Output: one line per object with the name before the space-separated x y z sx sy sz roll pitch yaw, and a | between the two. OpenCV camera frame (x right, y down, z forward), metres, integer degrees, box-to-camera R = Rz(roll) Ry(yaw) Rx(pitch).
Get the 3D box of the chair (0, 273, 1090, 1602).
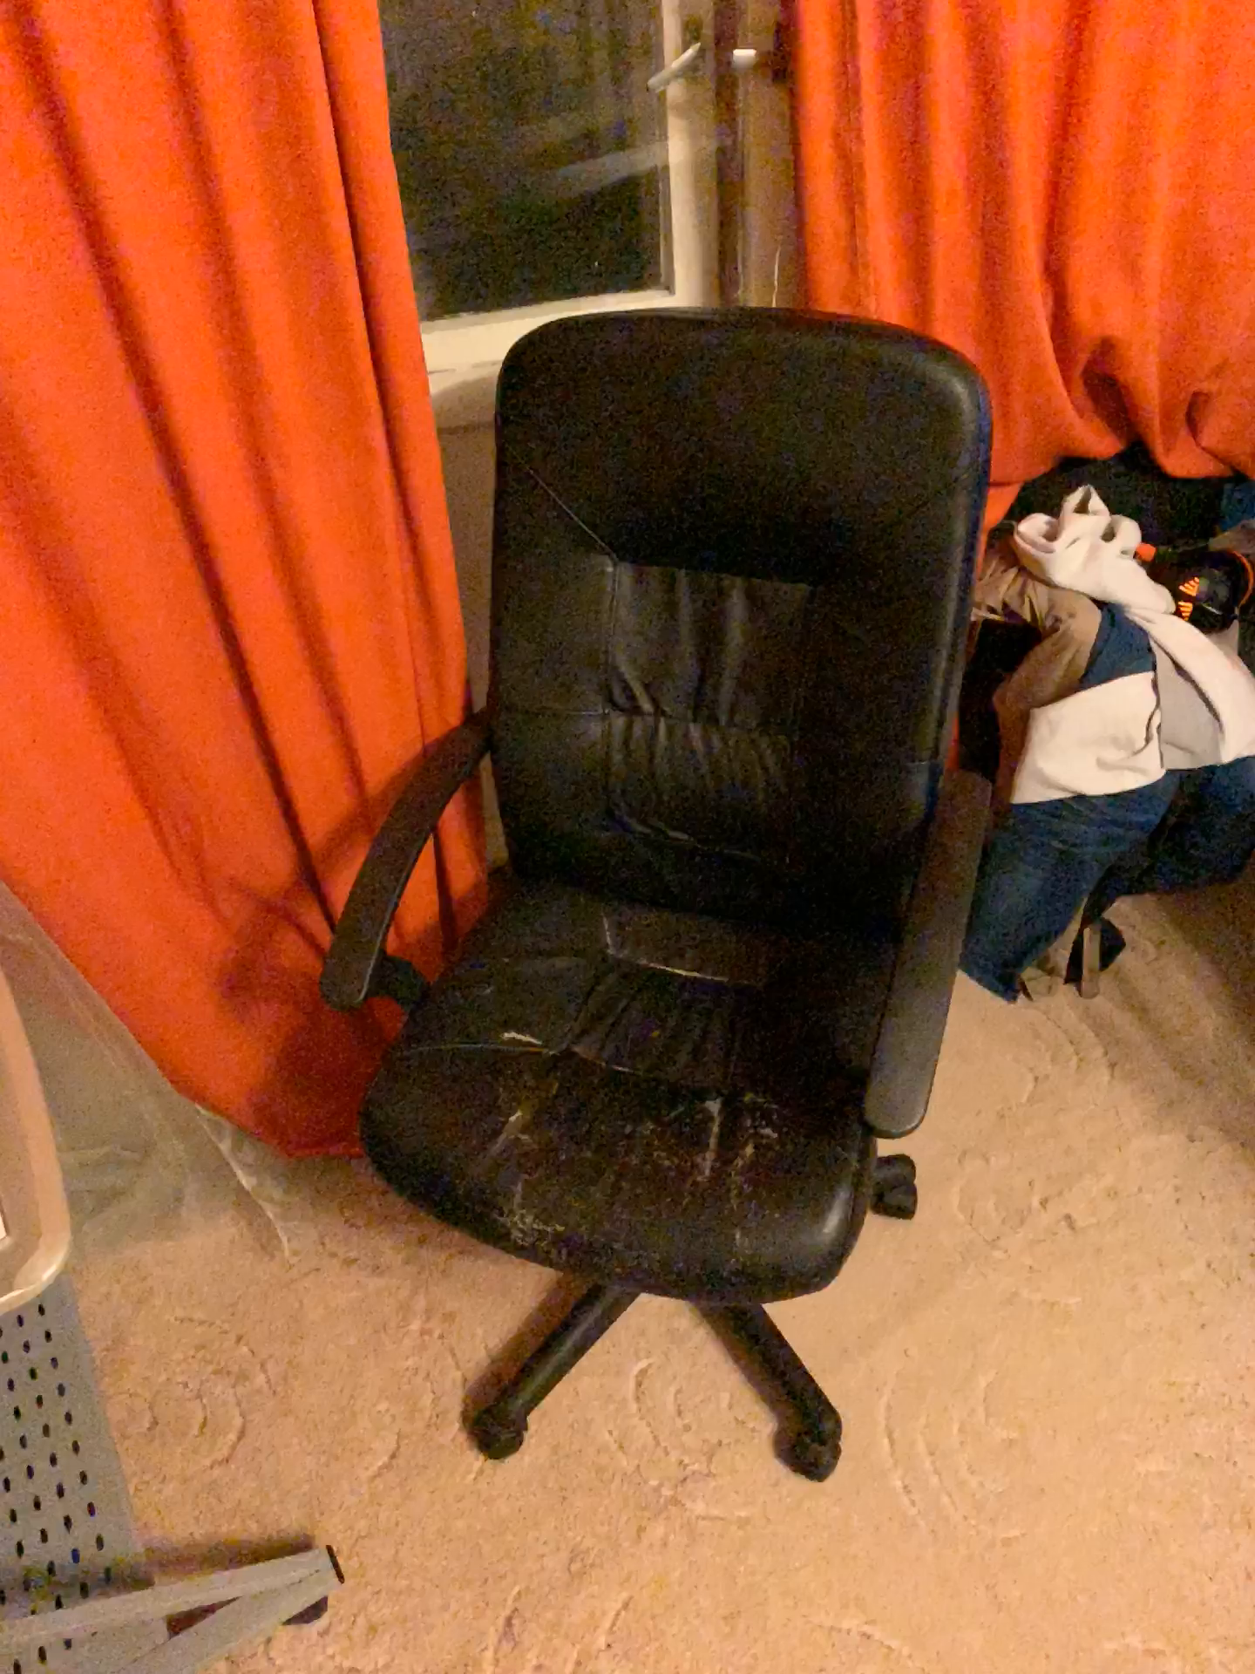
chair | 0.011 0.106 1.386 0.710 1.124 0.744 10 42 17
